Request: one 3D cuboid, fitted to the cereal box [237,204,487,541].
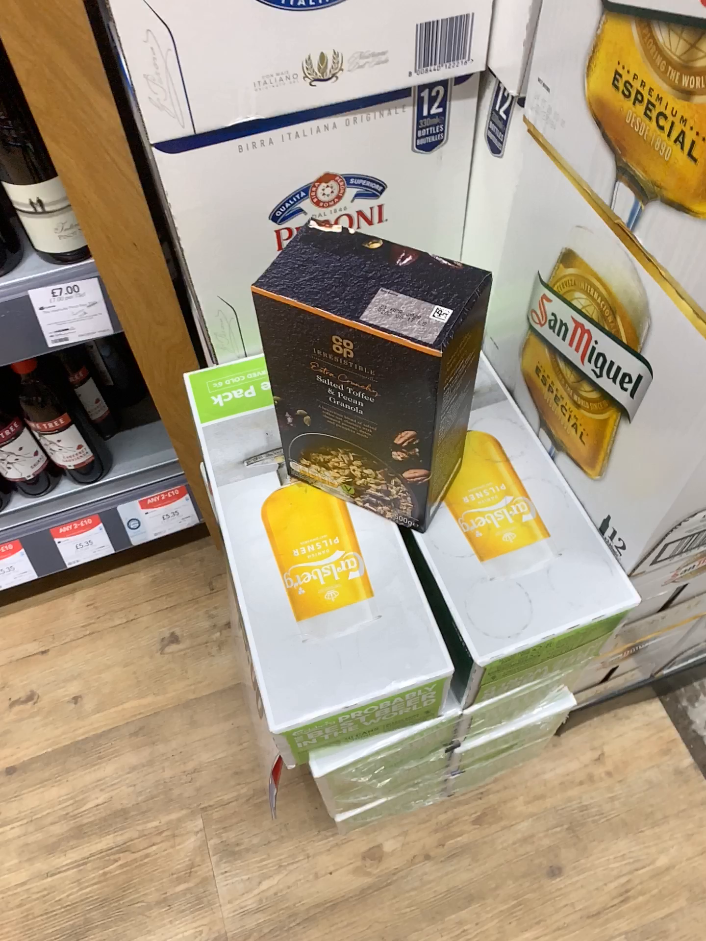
[{"bbox_3d":[0.009,-0.056,0.501,0.120,0.209,0.080,22,60,17],"label":"cereal box"}]
